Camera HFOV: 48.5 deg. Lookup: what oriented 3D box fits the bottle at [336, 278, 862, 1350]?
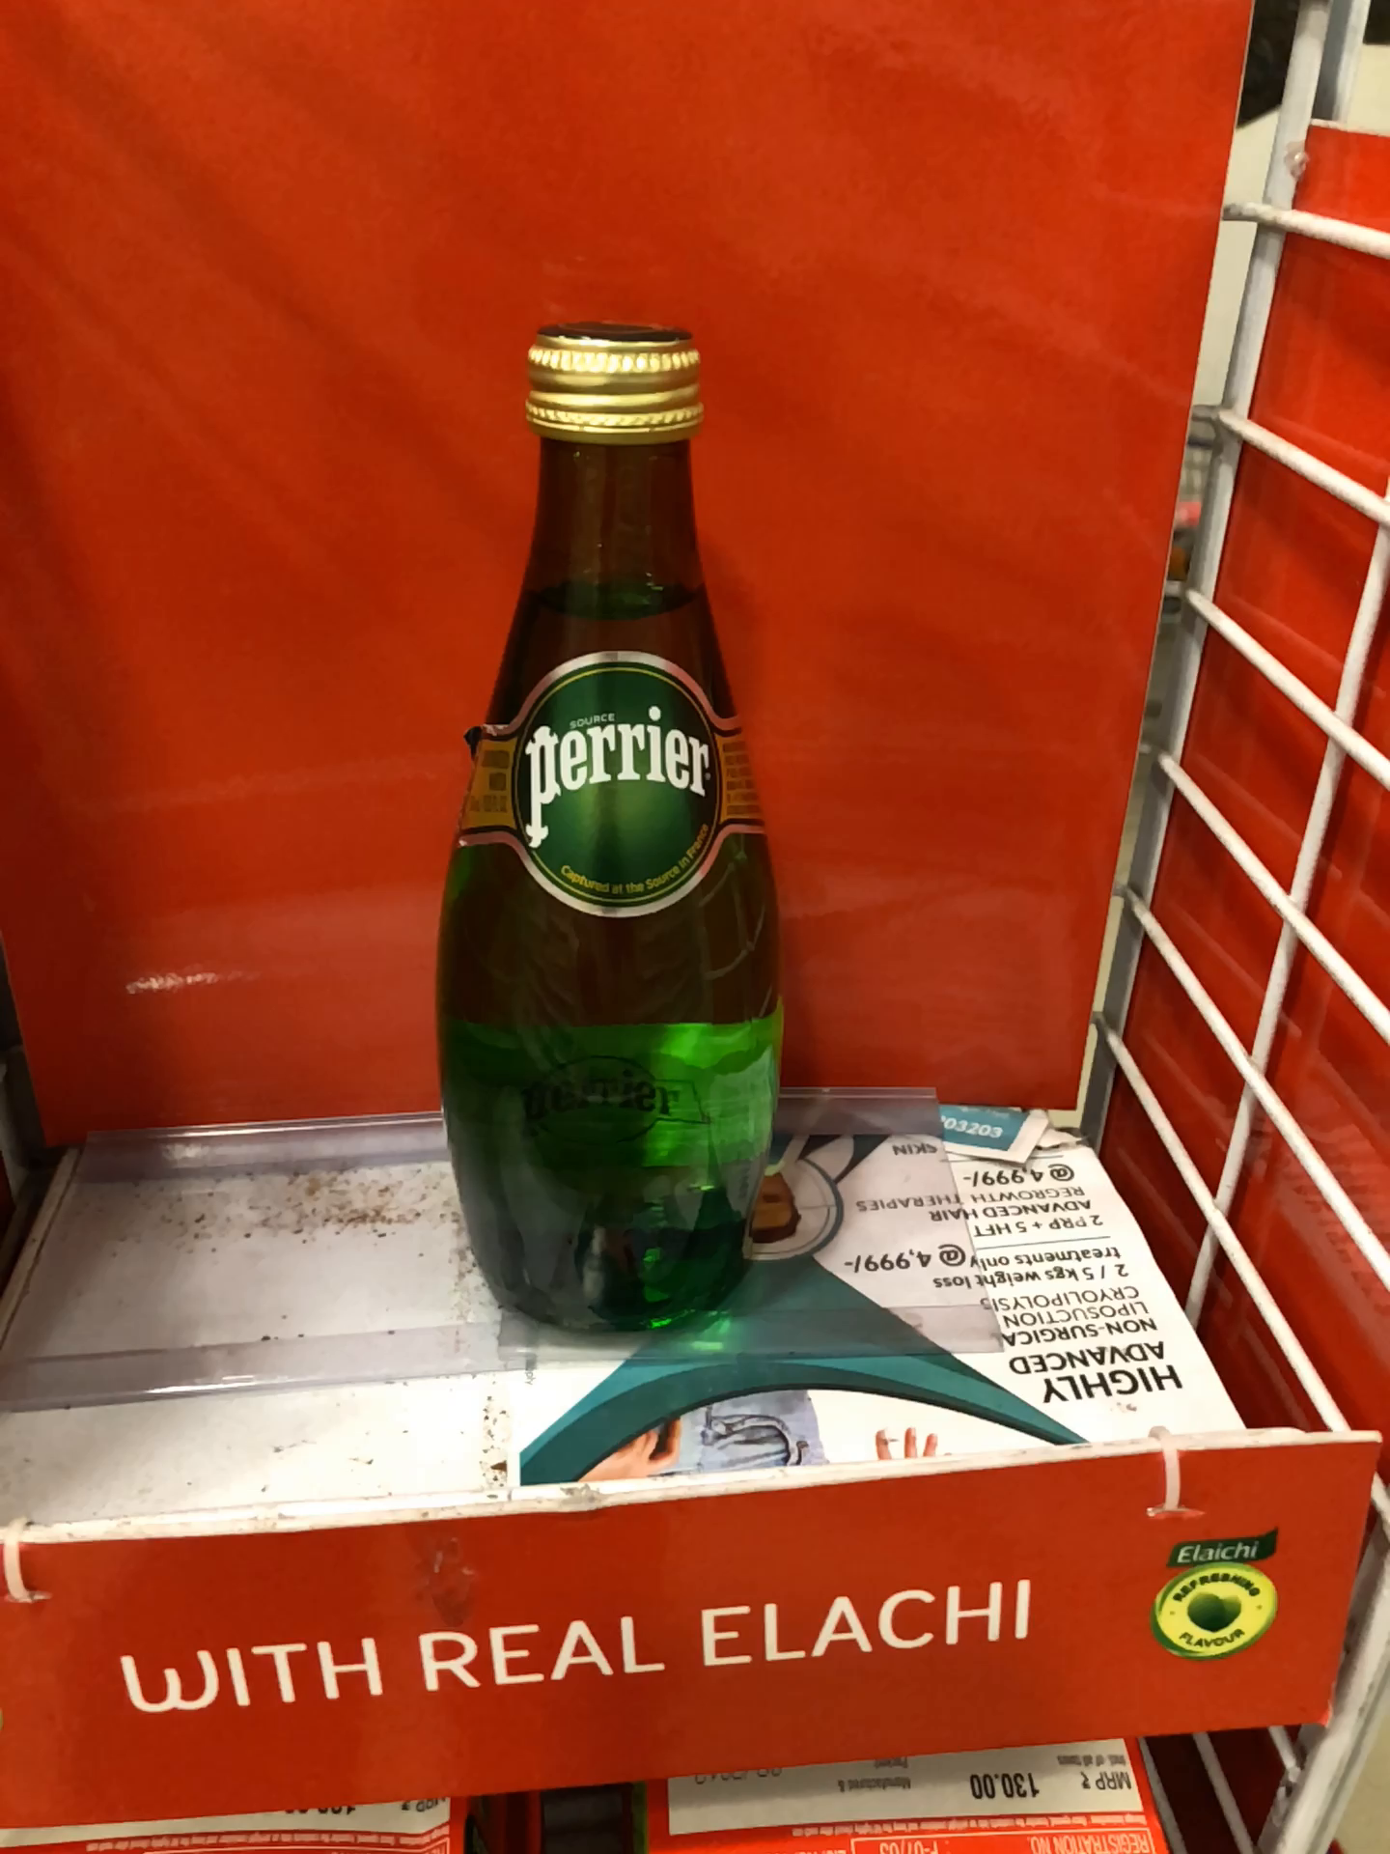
[{"bbox_3d":[-0.018,-0.015,0.276,0.070,0.179,0.060,-2,30,-7],"label":"bottle"}]
